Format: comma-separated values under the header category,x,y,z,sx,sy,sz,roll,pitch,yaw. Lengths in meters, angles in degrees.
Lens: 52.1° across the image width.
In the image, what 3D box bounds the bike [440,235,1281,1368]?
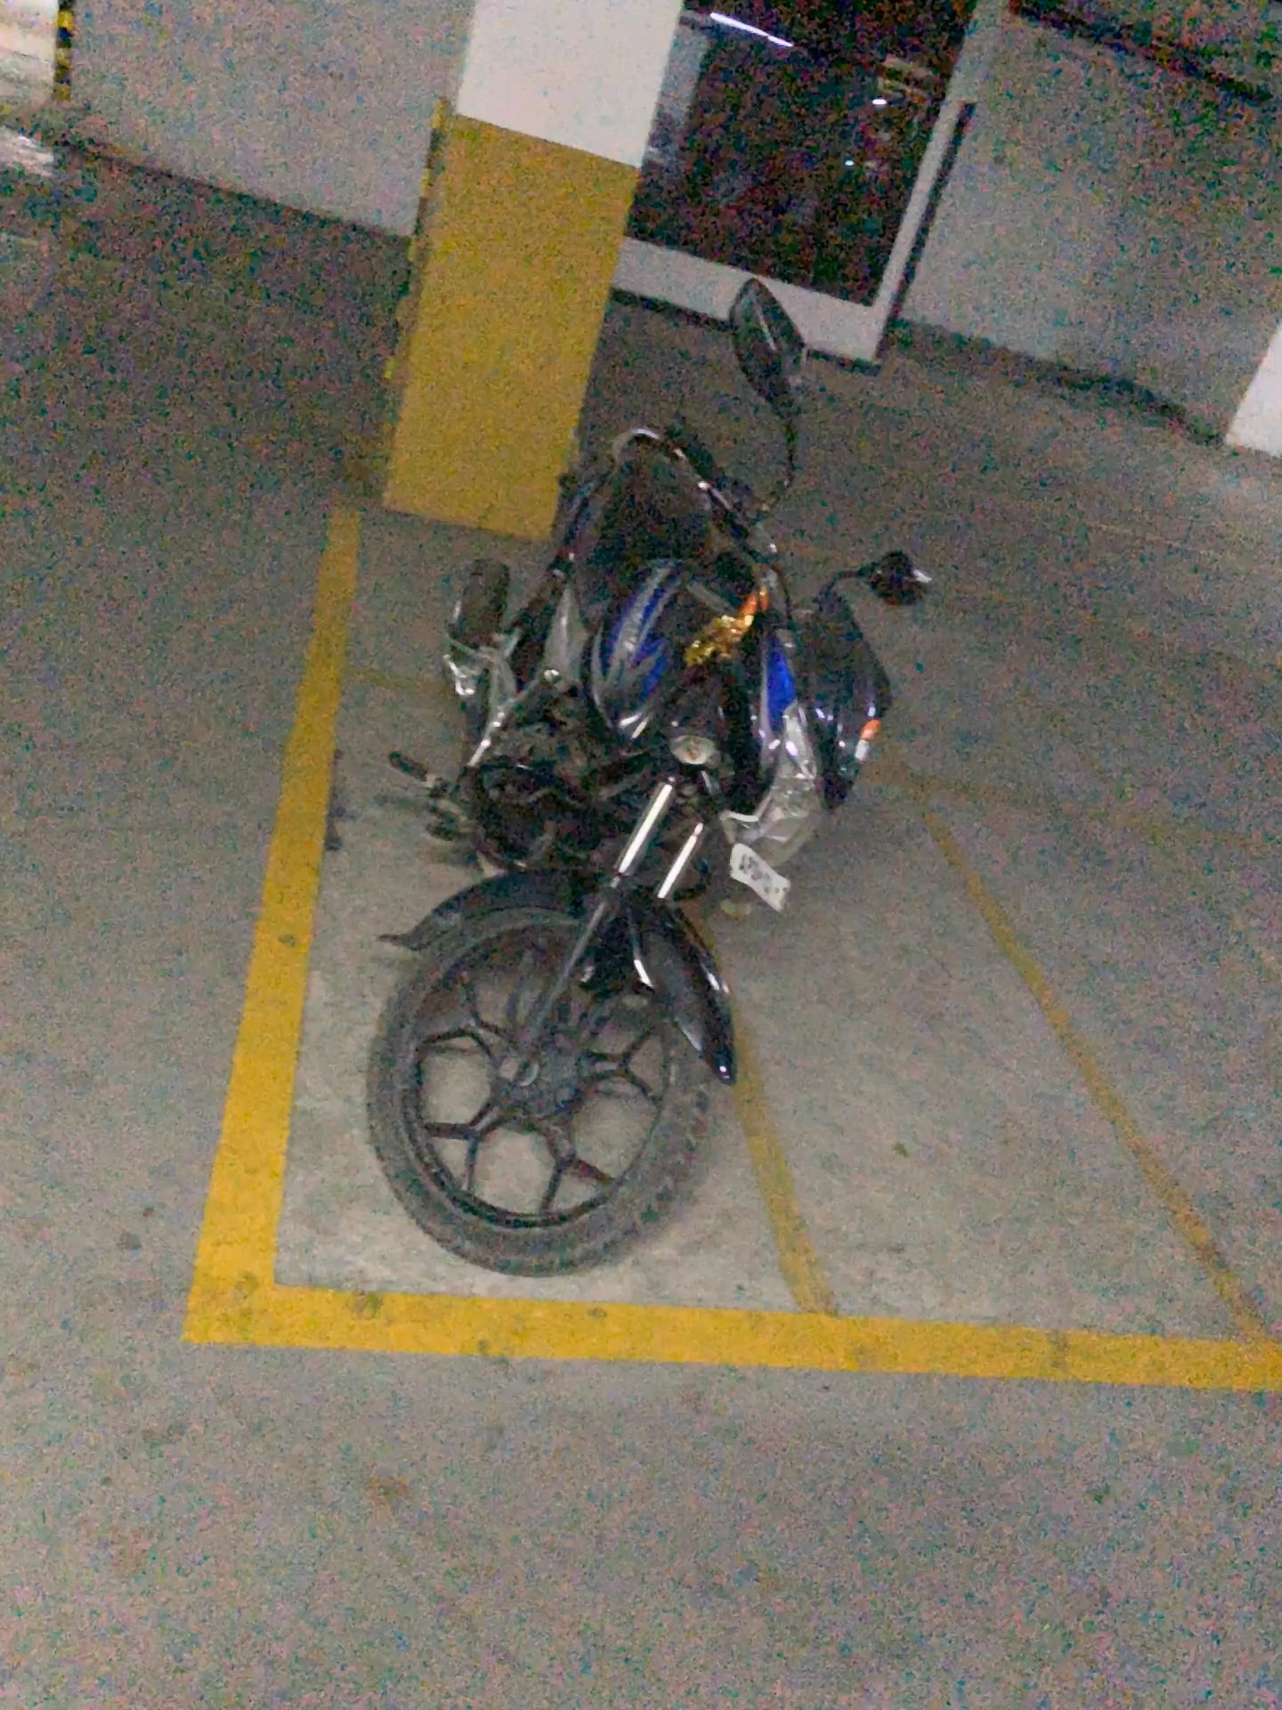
category,x,y,z,sx,sy,sz,roll,pitch,yaw
bike,0.231,-0.333,2.647,0.851,1.205,2.221,8,30,-18
